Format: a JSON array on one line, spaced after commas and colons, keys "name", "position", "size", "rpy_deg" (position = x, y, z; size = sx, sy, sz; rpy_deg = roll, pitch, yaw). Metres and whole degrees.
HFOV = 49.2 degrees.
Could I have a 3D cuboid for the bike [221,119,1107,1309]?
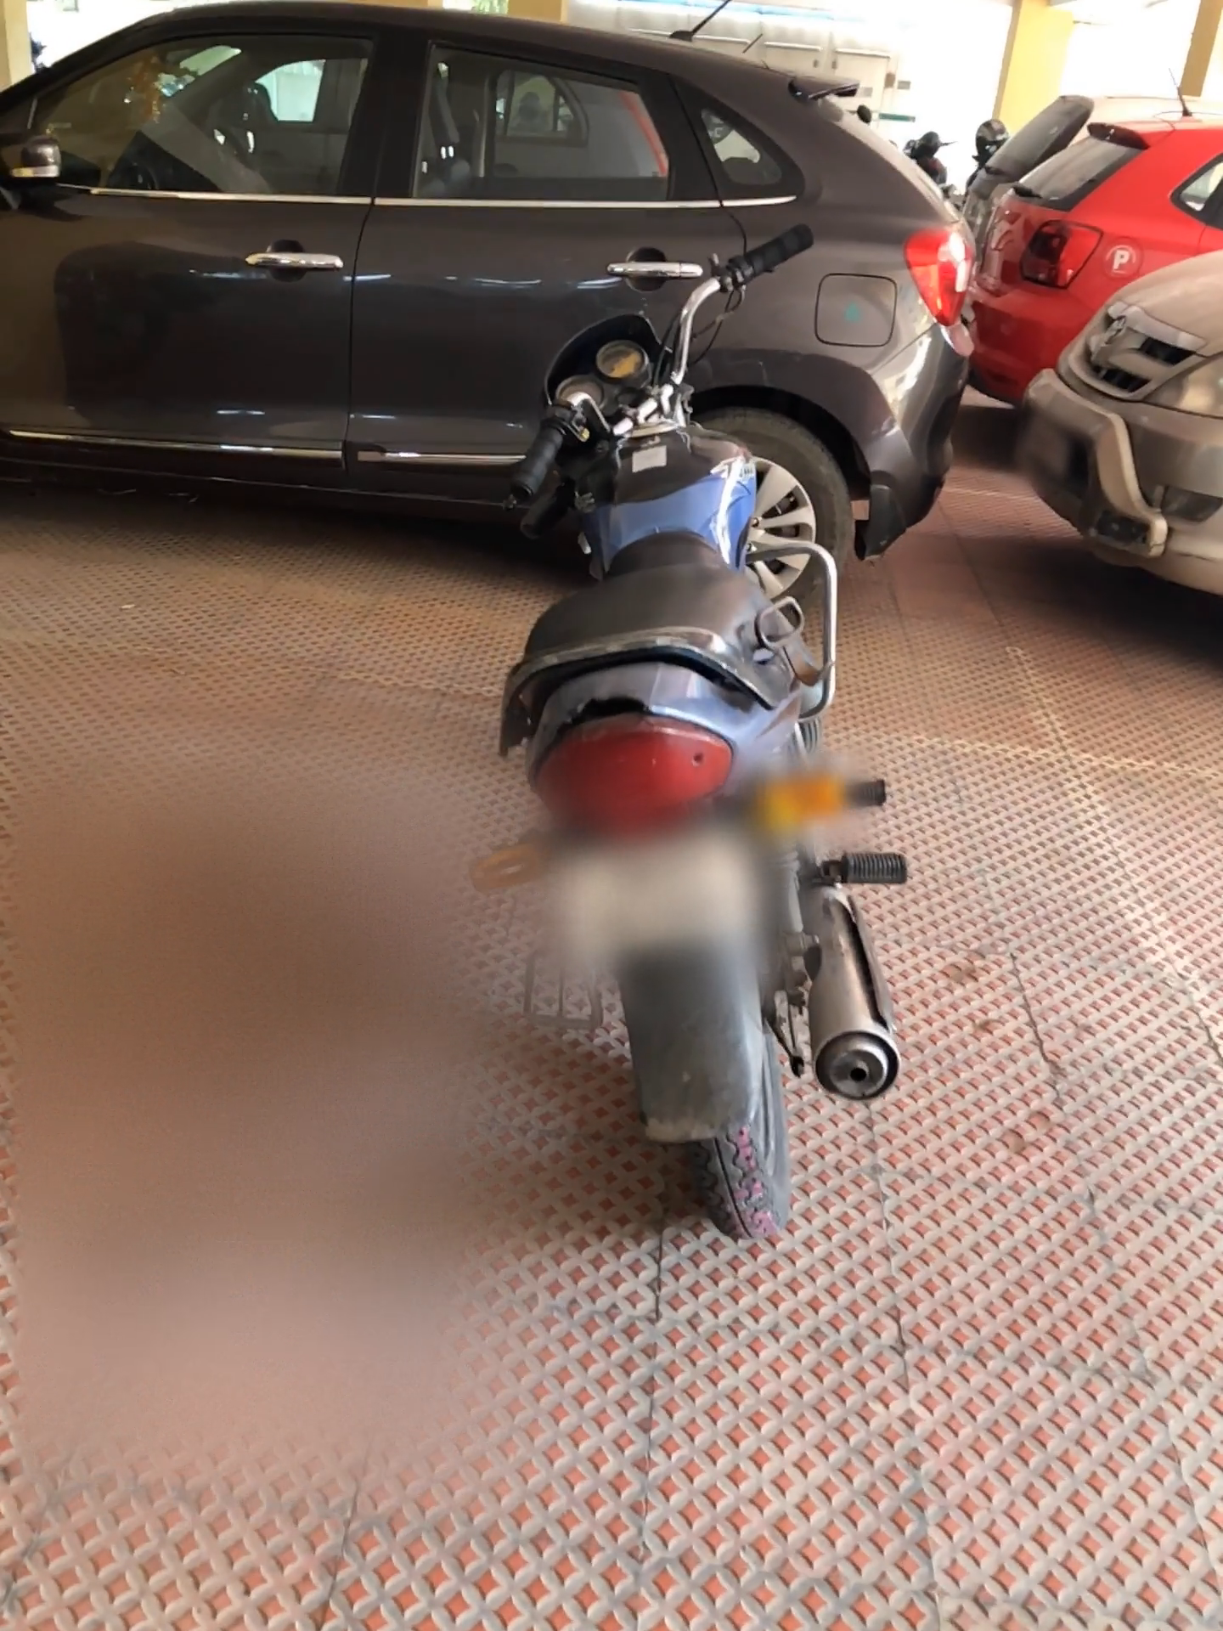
[{"name": "bike", "position": [-0.081, -0.356, 2.070], "size": [0.733, 1.072, 1.699], "rpy_deg": [2, 31, -7]}]
